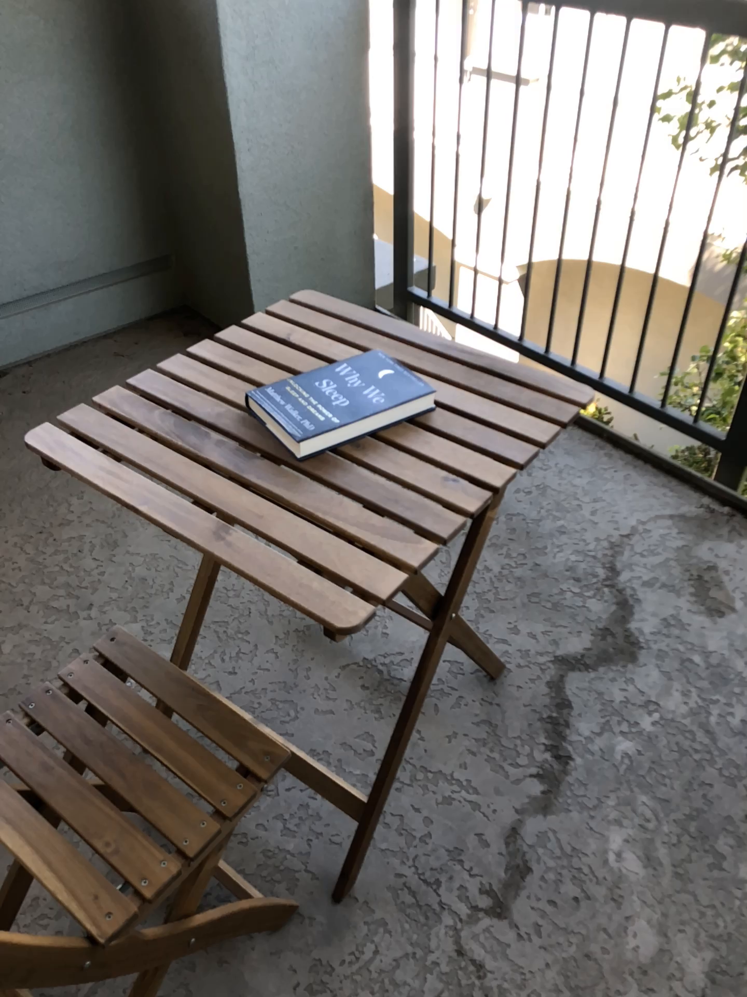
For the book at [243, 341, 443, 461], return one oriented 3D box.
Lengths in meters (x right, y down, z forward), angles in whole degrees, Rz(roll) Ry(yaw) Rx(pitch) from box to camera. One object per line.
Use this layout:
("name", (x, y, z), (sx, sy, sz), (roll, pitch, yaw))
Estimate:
("book", (-0.045, -0.148, 1.191), (0.235, 0.029, 0.171), (-22, 44, -24))
